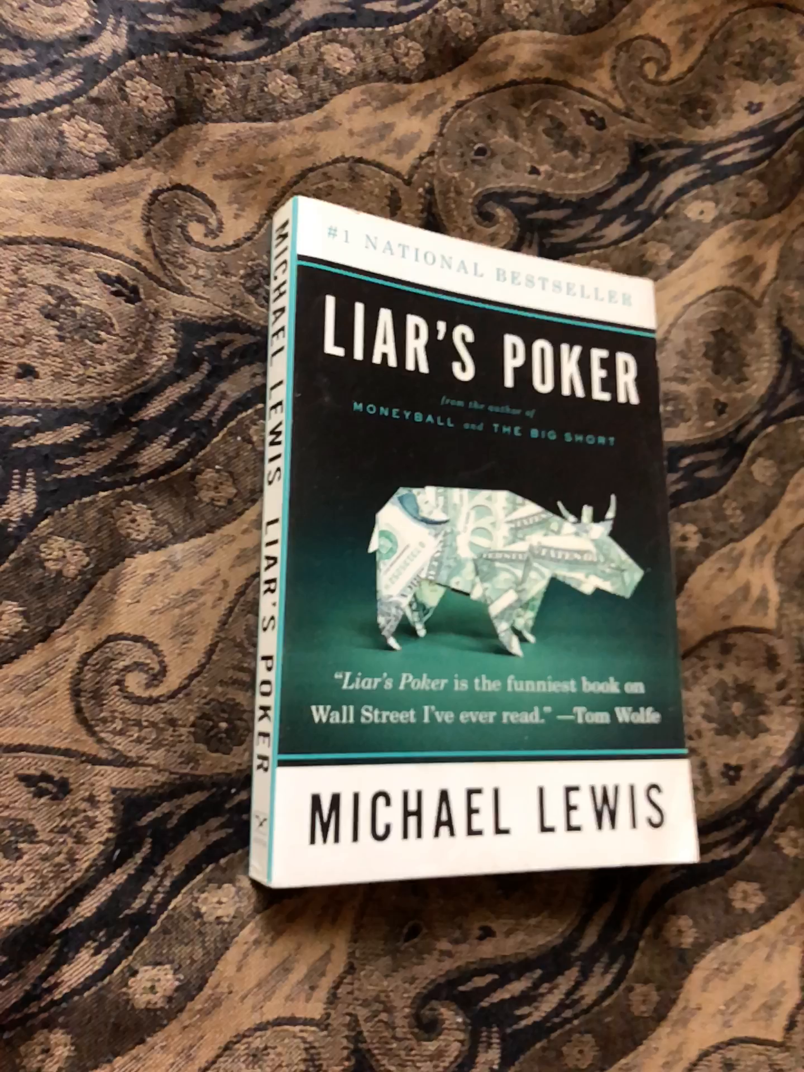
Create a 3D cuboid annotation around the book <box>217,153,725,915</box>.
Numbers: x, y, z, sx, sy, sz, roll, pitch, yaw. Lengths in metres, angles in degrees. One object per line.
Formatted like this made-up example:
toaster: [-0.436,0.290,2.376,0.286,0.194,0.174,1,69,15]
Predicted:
book: [0.027,0.002,0.290,0.150,0.040,0.210,6,79,-22]
